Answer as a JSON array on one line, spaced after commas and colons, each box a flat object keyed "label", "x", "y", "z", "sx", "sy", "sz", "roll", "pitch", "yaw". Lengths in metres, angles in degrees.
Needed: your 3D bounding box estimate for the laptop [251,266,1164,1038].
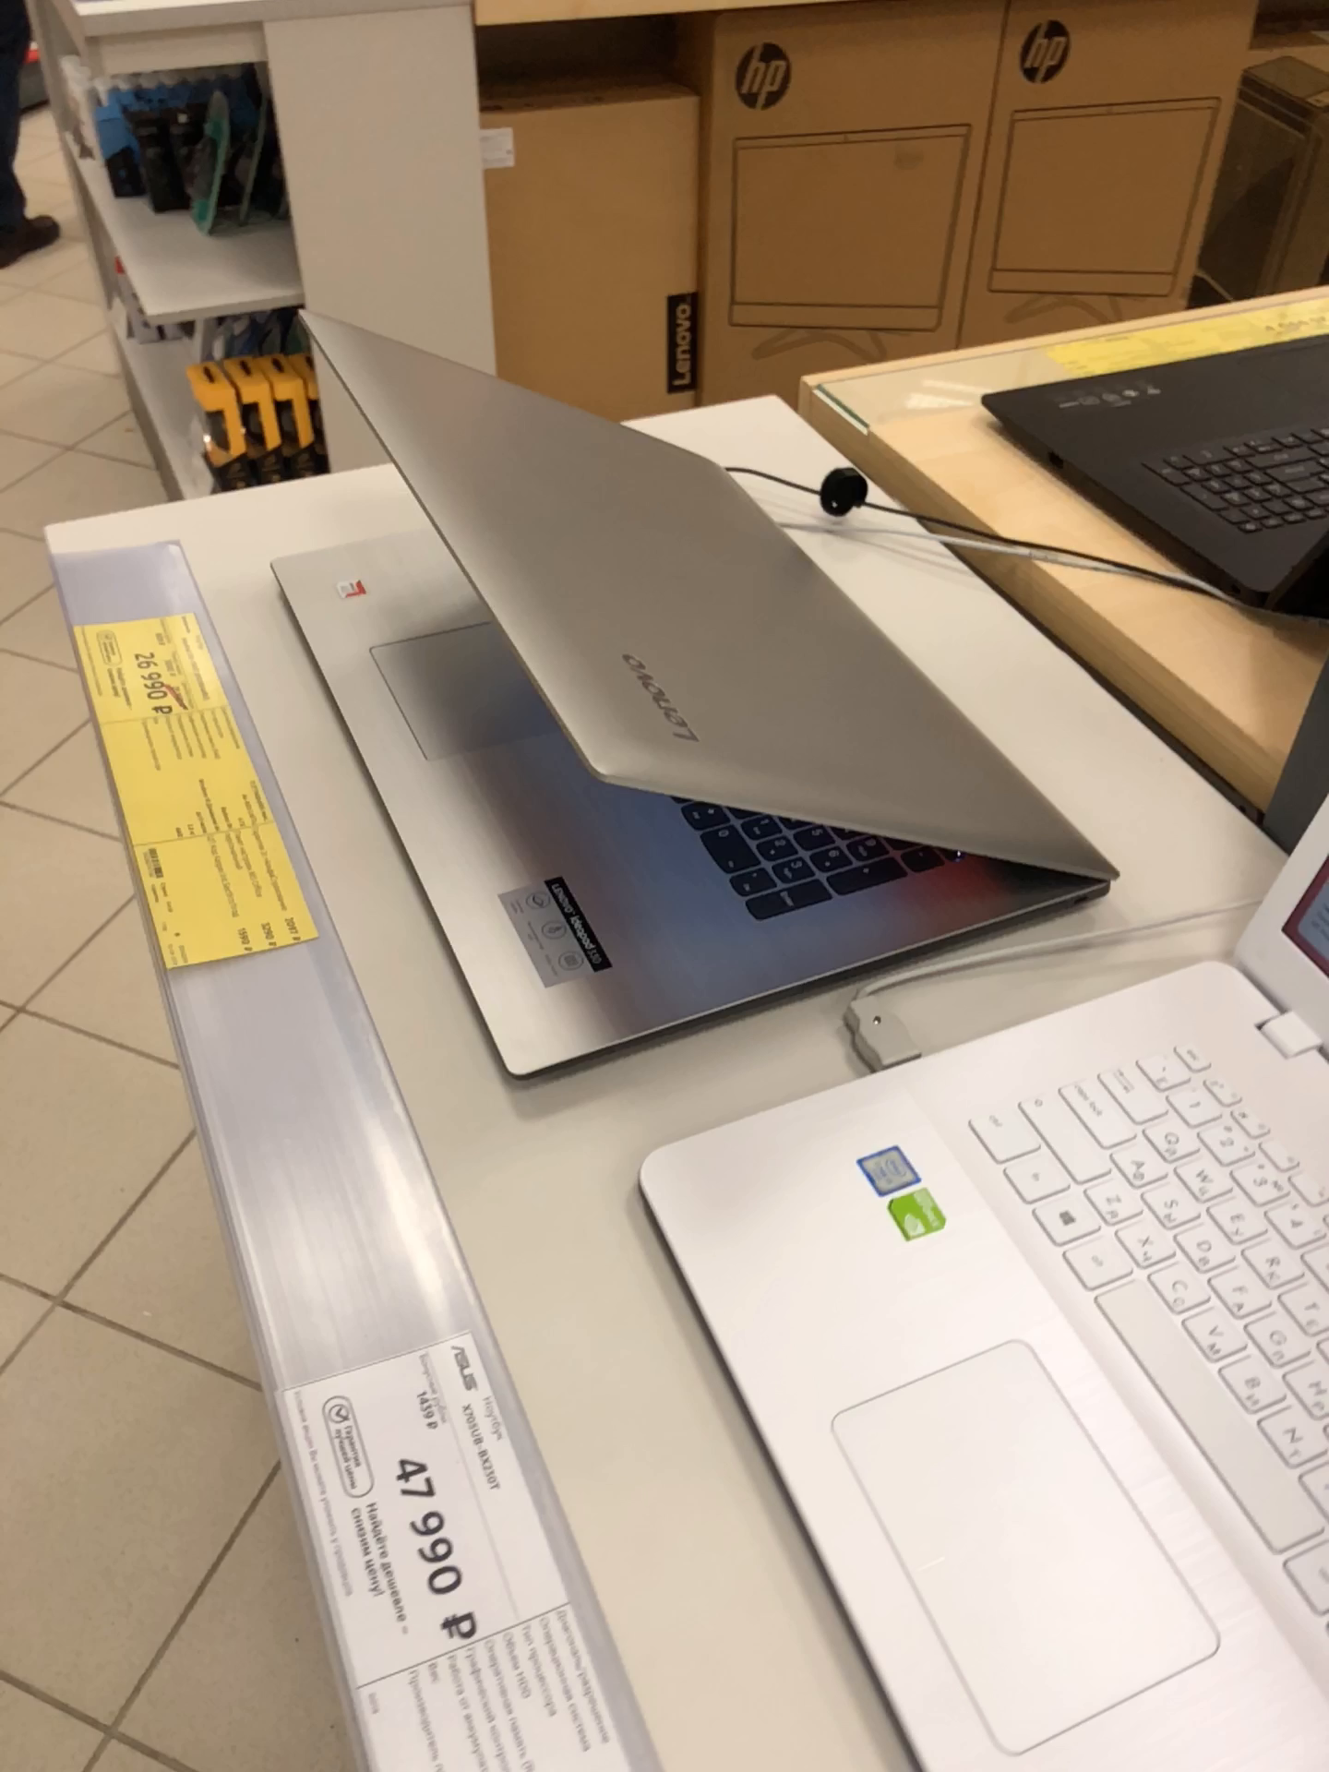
[{"label": "laptop", "x": -0.011, "y": -0.149, "z": 0.704, "sx": 0.276, "sy": 0.129, "sz": 0.399, "roll": -16, "pitch": 44, "yaw": -17}]
